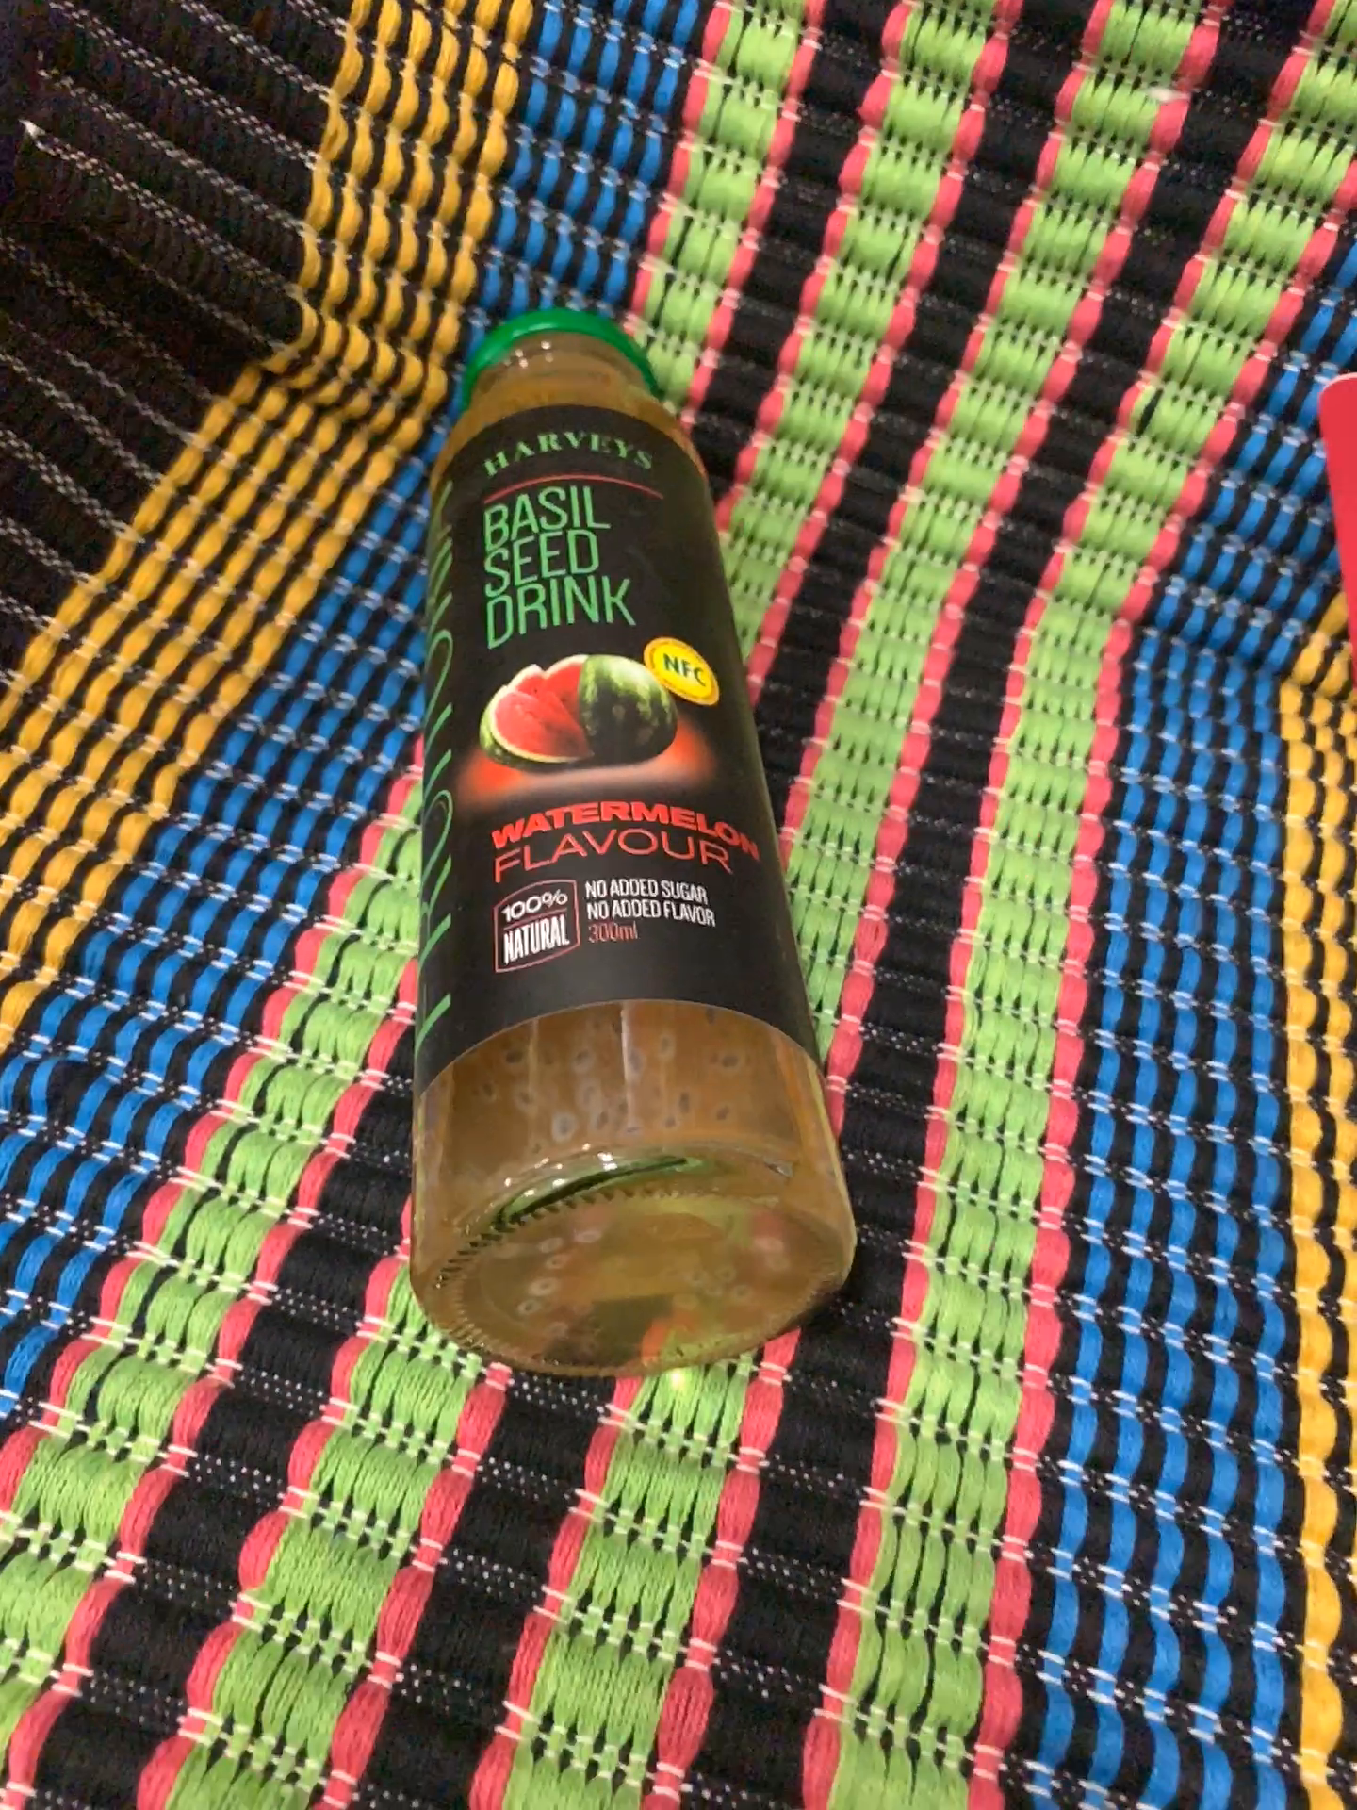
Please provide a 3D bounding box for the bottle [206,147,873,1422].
[{"bbox_3d":[-0.020,-0.035,0.218,0.060,0.060,0.200,-11,51,5],"label":"bottle"}]
